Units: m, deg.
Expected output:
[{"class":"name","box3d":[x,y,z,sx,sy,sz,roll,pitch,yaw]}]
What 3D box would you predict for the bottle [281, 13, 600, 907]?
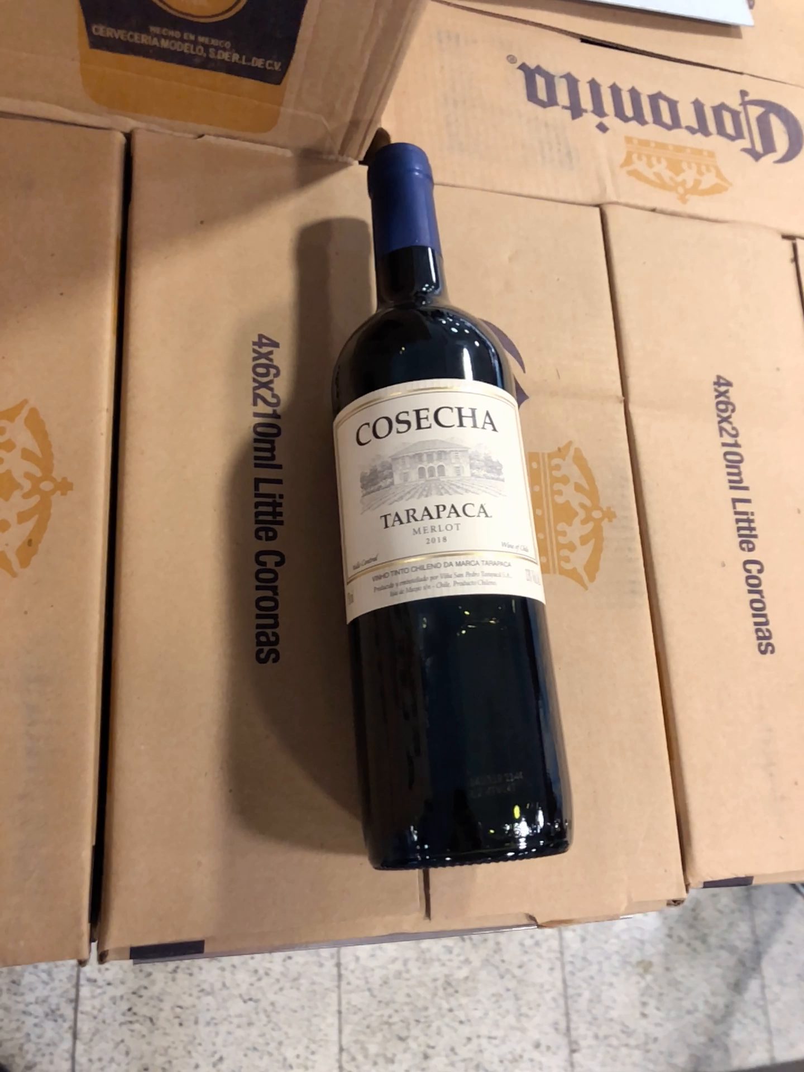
[{"class":"bottle","box3d":[0.003,-0.041,0.338,0.070,0.060,0.331,7,66,-28]}]
